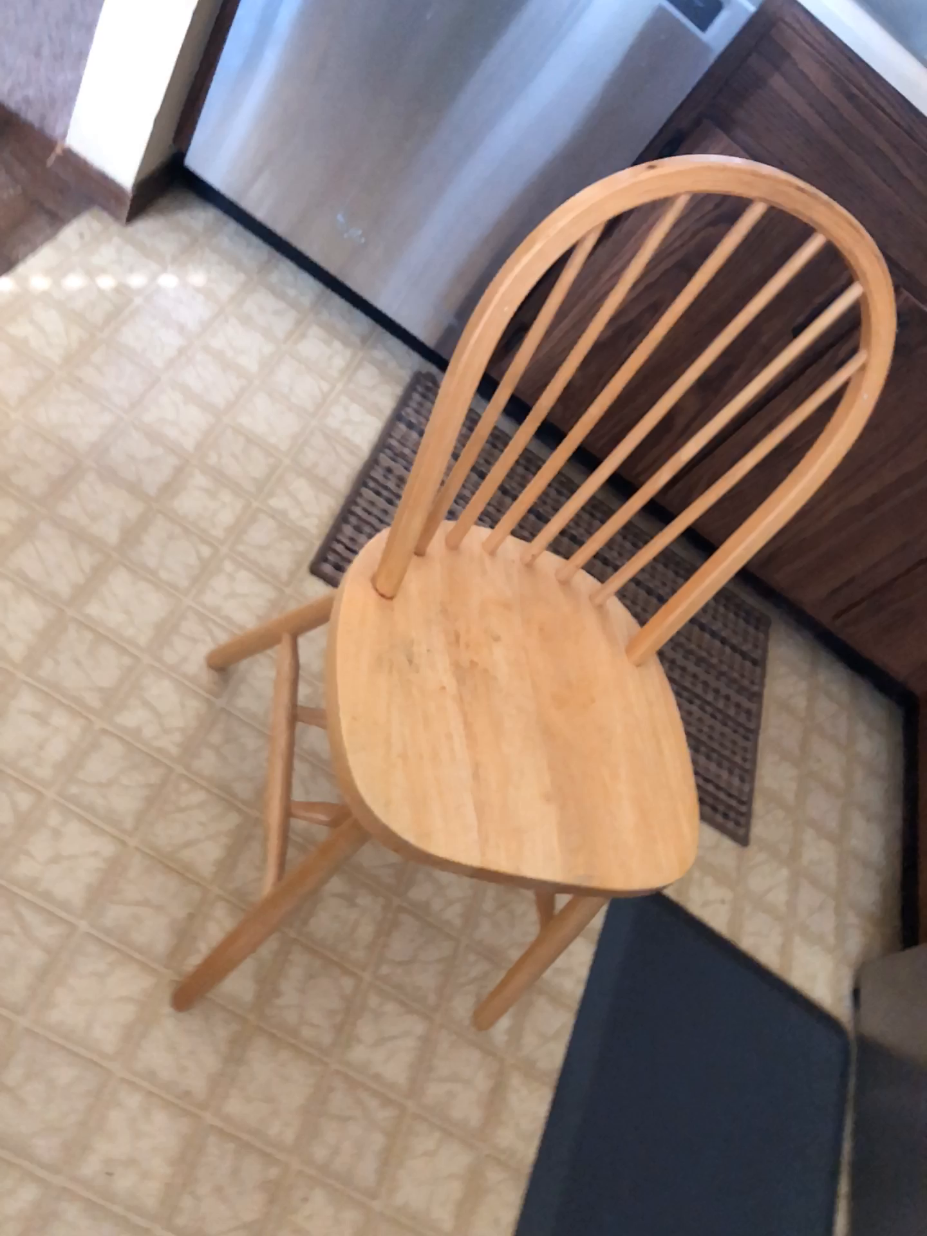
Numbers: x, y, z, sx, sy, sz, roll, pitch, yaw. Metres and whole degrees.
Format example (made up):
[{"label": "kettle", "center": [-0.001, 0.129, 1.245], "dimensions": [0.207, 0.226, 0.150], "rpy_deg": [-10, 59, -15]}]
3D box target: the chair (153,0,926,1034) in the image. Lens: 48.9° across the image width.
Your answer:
[{"label": "chair", "center": [0.074, 0.027, 1.041], "dimensions": [0.462, 0.897, 0.560], "rpy_deg": [15, 53, -27]}]
